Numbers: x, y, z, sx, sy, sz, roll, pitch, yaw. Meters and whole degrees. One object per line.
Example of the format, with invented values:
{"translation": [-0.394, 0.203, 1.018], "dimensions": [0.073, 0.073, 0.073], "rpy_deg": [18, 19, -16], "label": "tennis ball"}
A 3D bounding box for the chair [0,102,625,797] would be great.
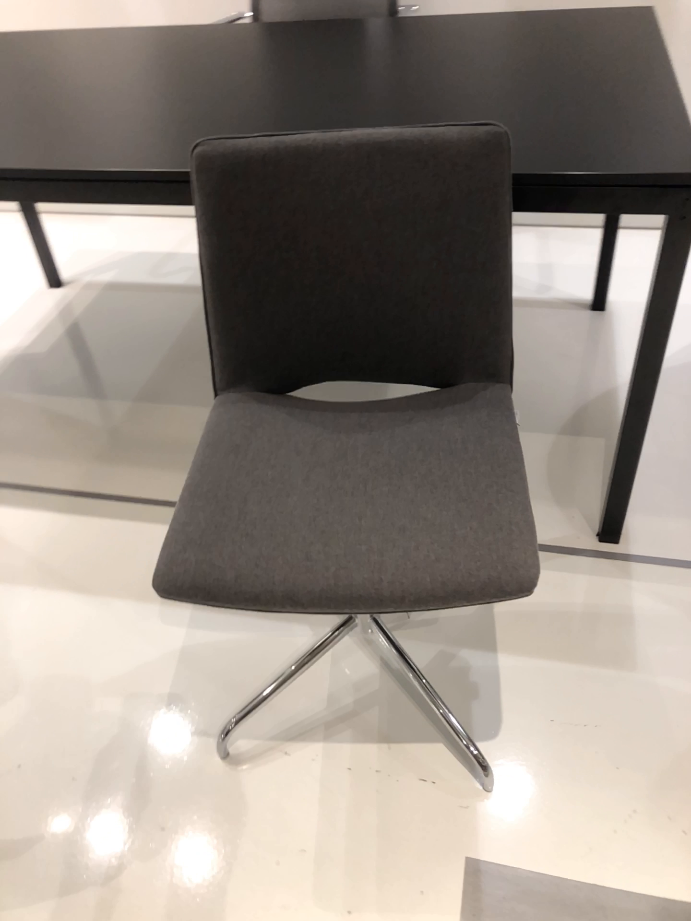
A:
{"translation": [0.010, 0.022, 1.108], "dimensions": [0.520, 0.834, 0.554], "rpy_deg": [-2, 41, 5], "label": "chair"}
